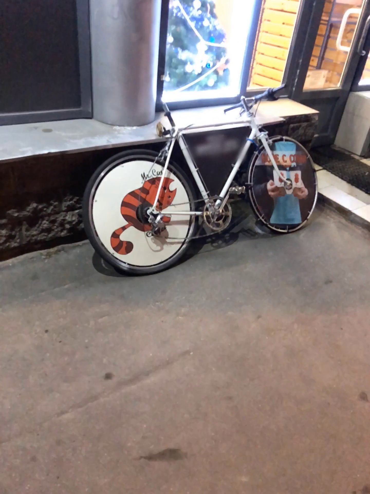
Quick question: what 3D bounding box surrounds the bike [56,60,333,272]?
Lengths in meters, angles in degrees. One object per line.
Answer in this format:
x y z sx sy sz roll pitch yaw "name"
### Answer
0.079 -0.606 2.526 1.589 0.916 0.571 -17 40 -30 "bike"
